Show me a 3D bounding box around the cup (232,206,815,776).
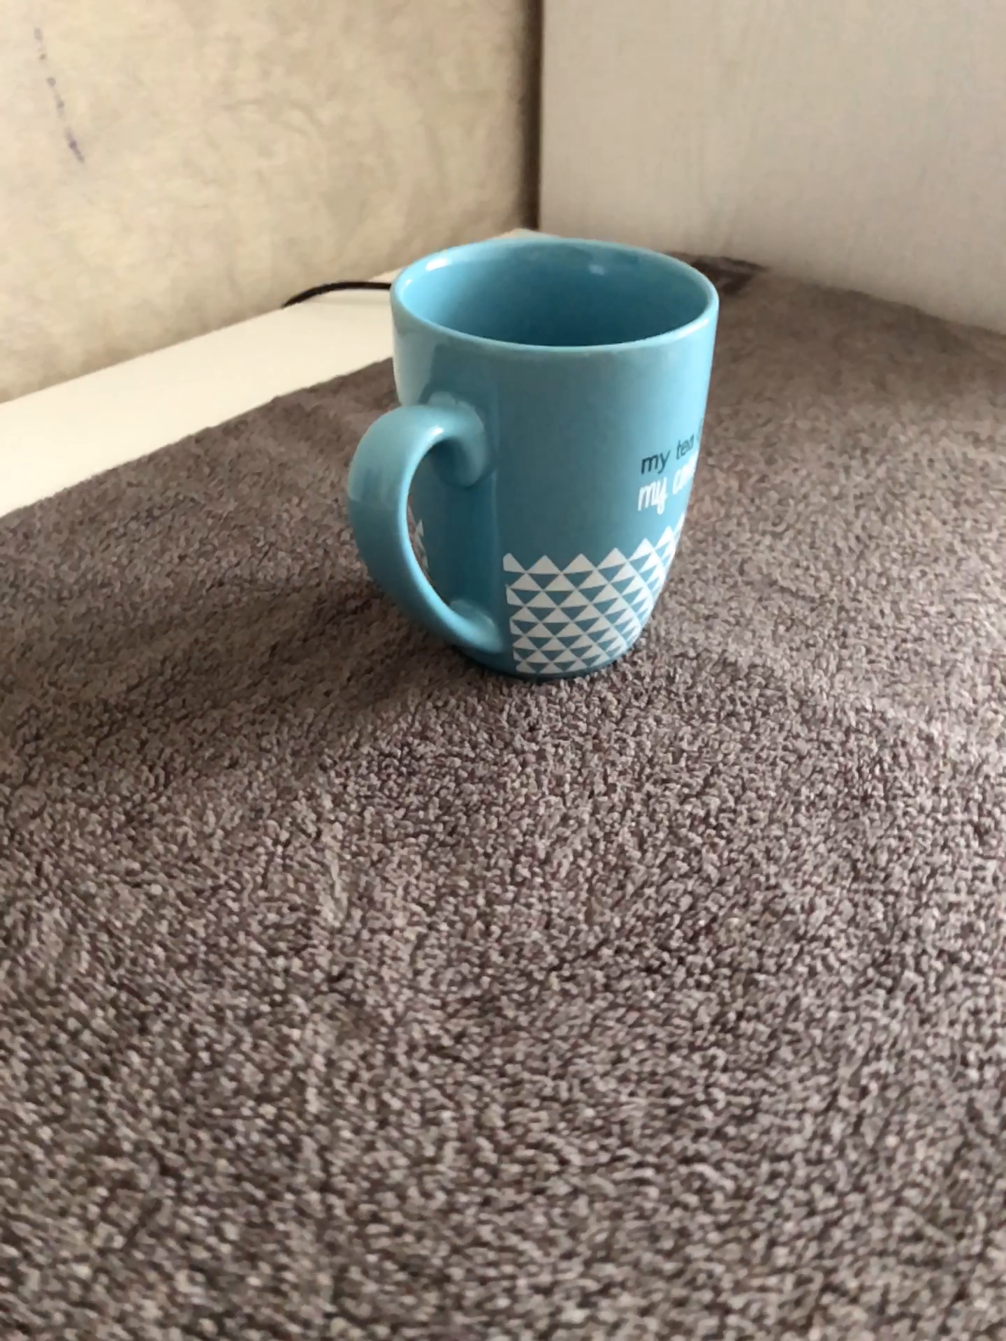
[{"bbox_3d":[0.010,-0.057,0.297,0.087,0.089,0.126,23,42,27],"label":"cup"}]
